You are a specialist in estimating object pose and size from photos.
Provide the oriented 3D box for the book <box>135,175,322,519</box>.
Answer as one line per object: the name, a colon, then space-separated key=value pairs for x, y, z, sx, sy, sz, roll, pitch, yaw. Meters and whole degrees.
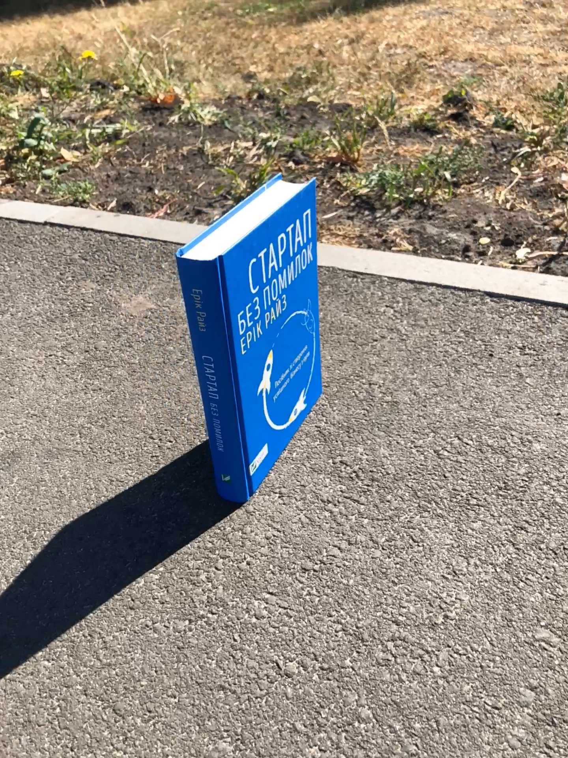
book: x=-0.026 y=-0.025 z=0.471 sx=0.038 sy=0.204 sz=0.155 roll=12 pitch=40 yaw=24
